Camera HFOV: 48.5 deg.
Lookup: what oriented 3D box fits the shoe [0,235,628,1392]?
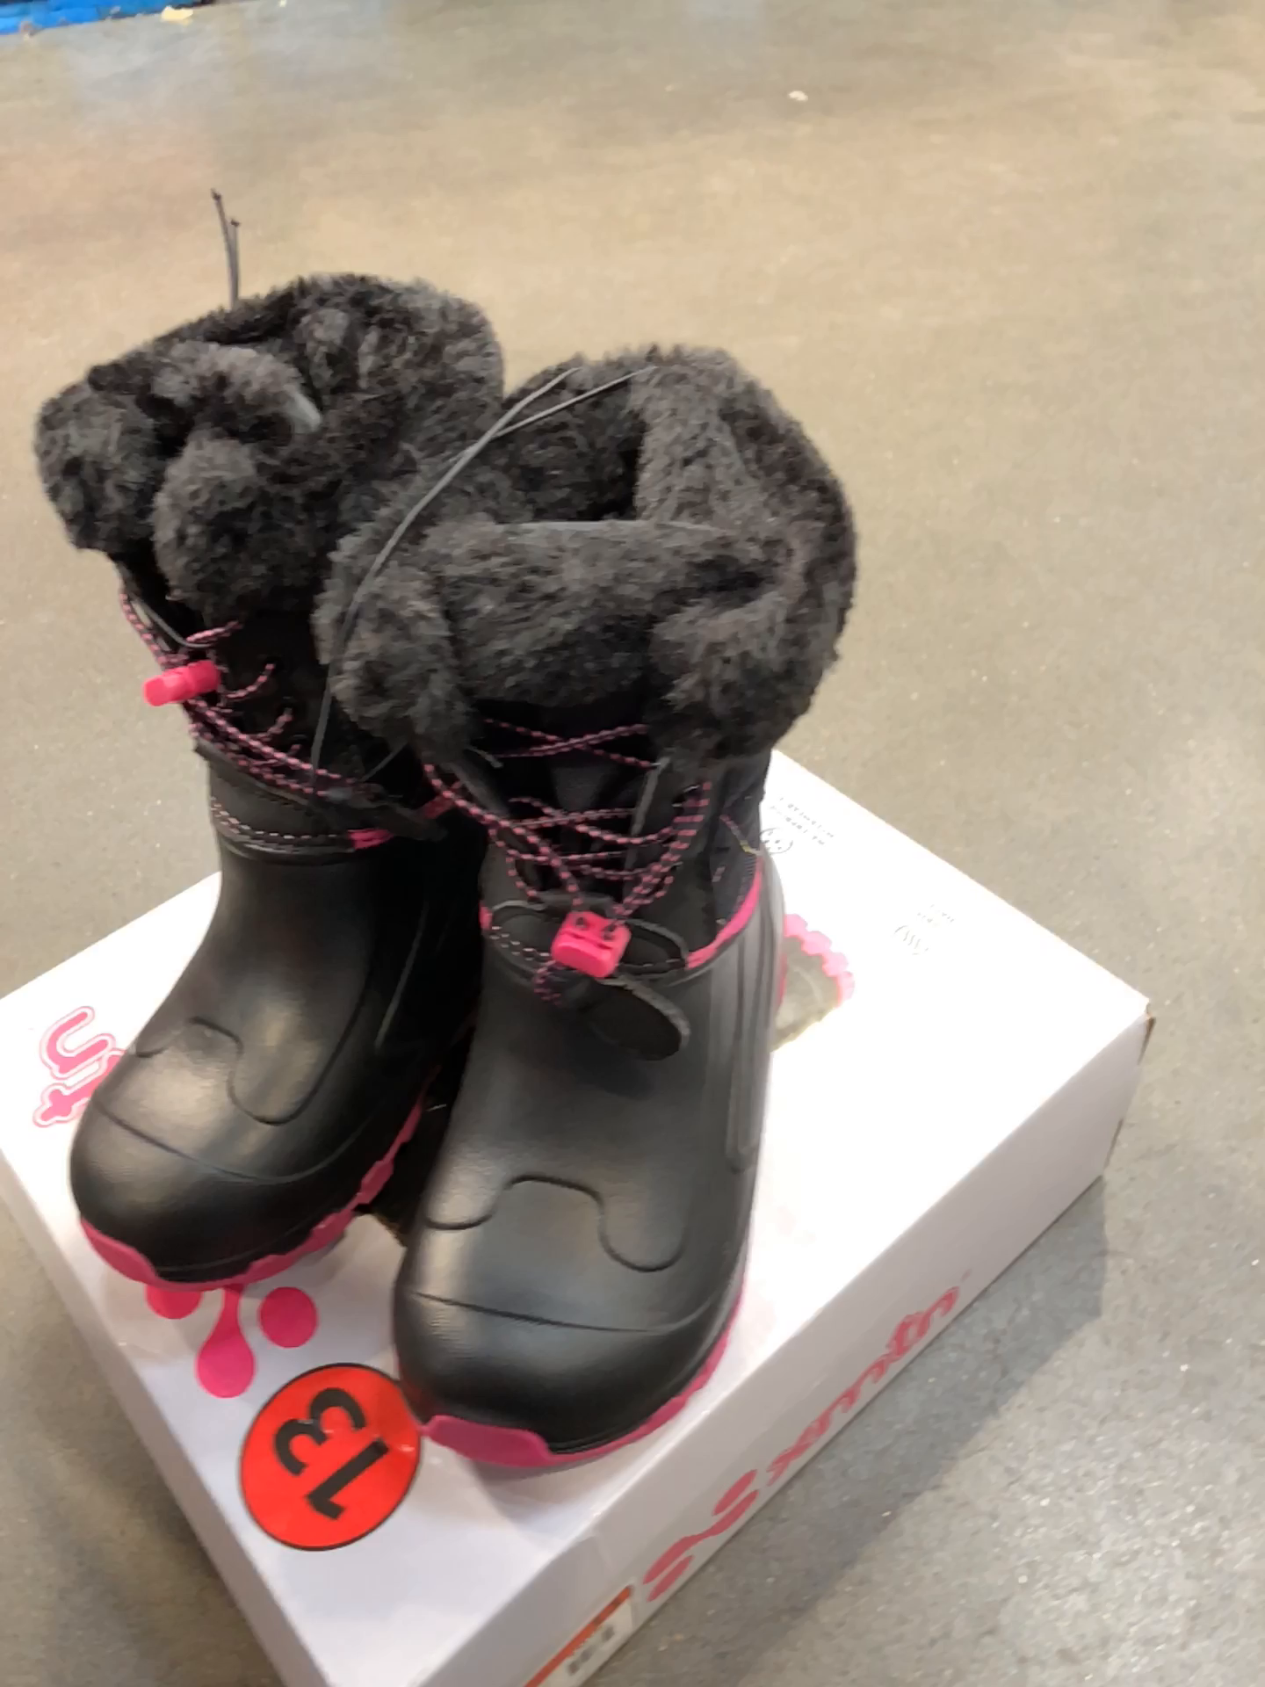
[{"bbox_3d":[-0.110,-0.012,0.392,0.110,0.209,0.221,21,51,22],"label":"shoe"}]

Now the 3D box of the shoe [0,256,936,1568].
[{"bbox_3d":[-0.012,0.016,0.359,0.110,0.229,0.221,13,49,16],"label":"shoe"}]
